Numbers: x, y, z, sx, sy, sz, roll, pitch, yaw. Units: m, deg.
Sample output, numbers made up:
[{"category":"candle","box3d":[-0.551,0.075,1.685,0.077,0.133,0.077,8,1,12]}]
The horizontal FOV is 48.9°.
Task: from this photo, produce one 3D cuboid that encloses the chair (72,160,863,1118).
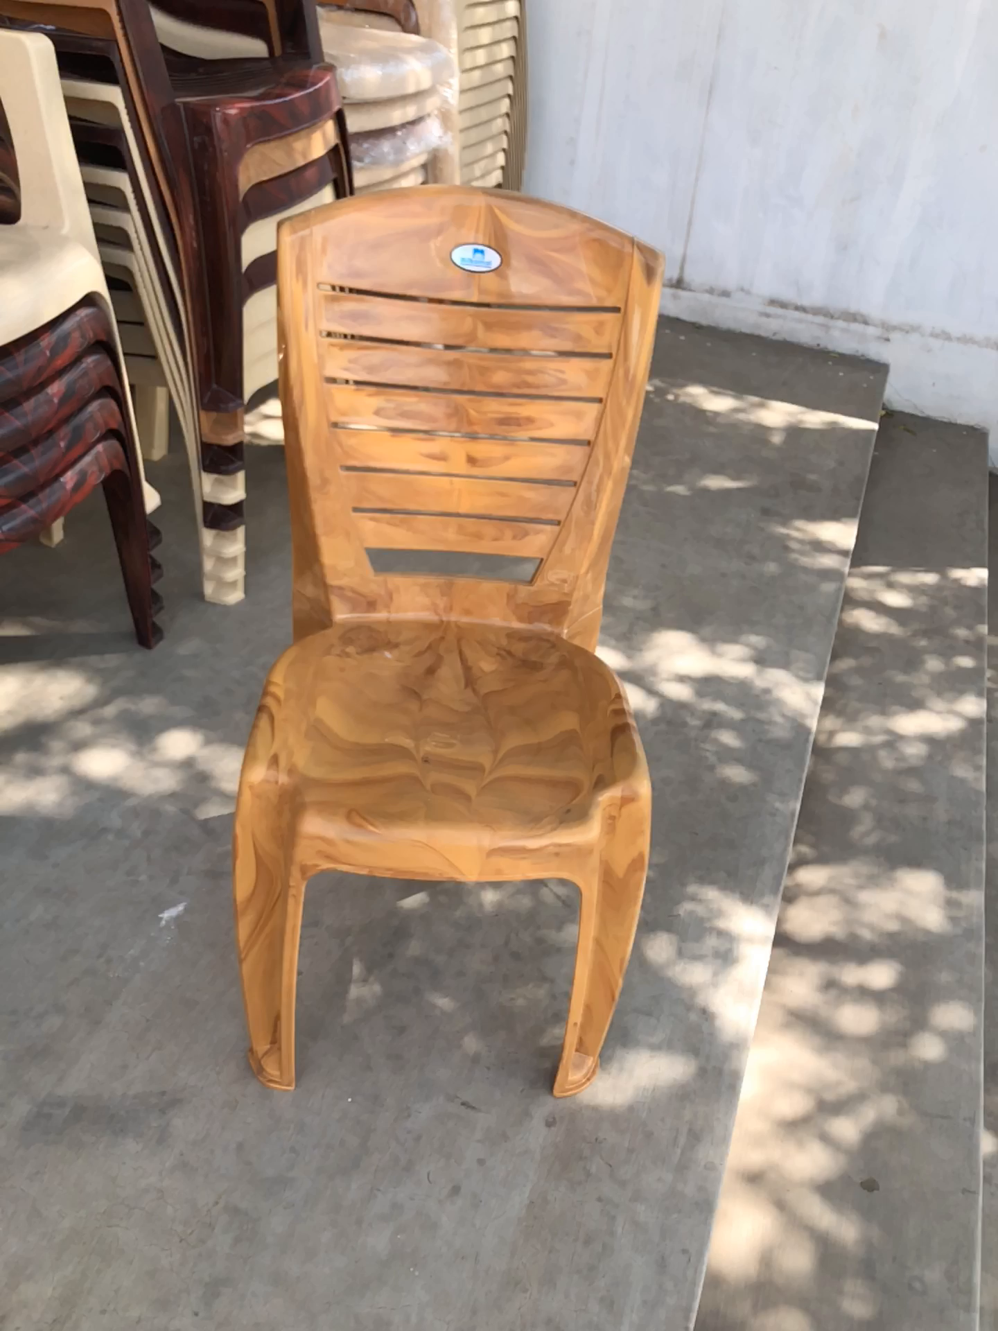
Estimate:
[{"category":"chair","box3d":[-0.056,-0.012,1.161,0.500,0.816,0.563,1,37,-5]}]
